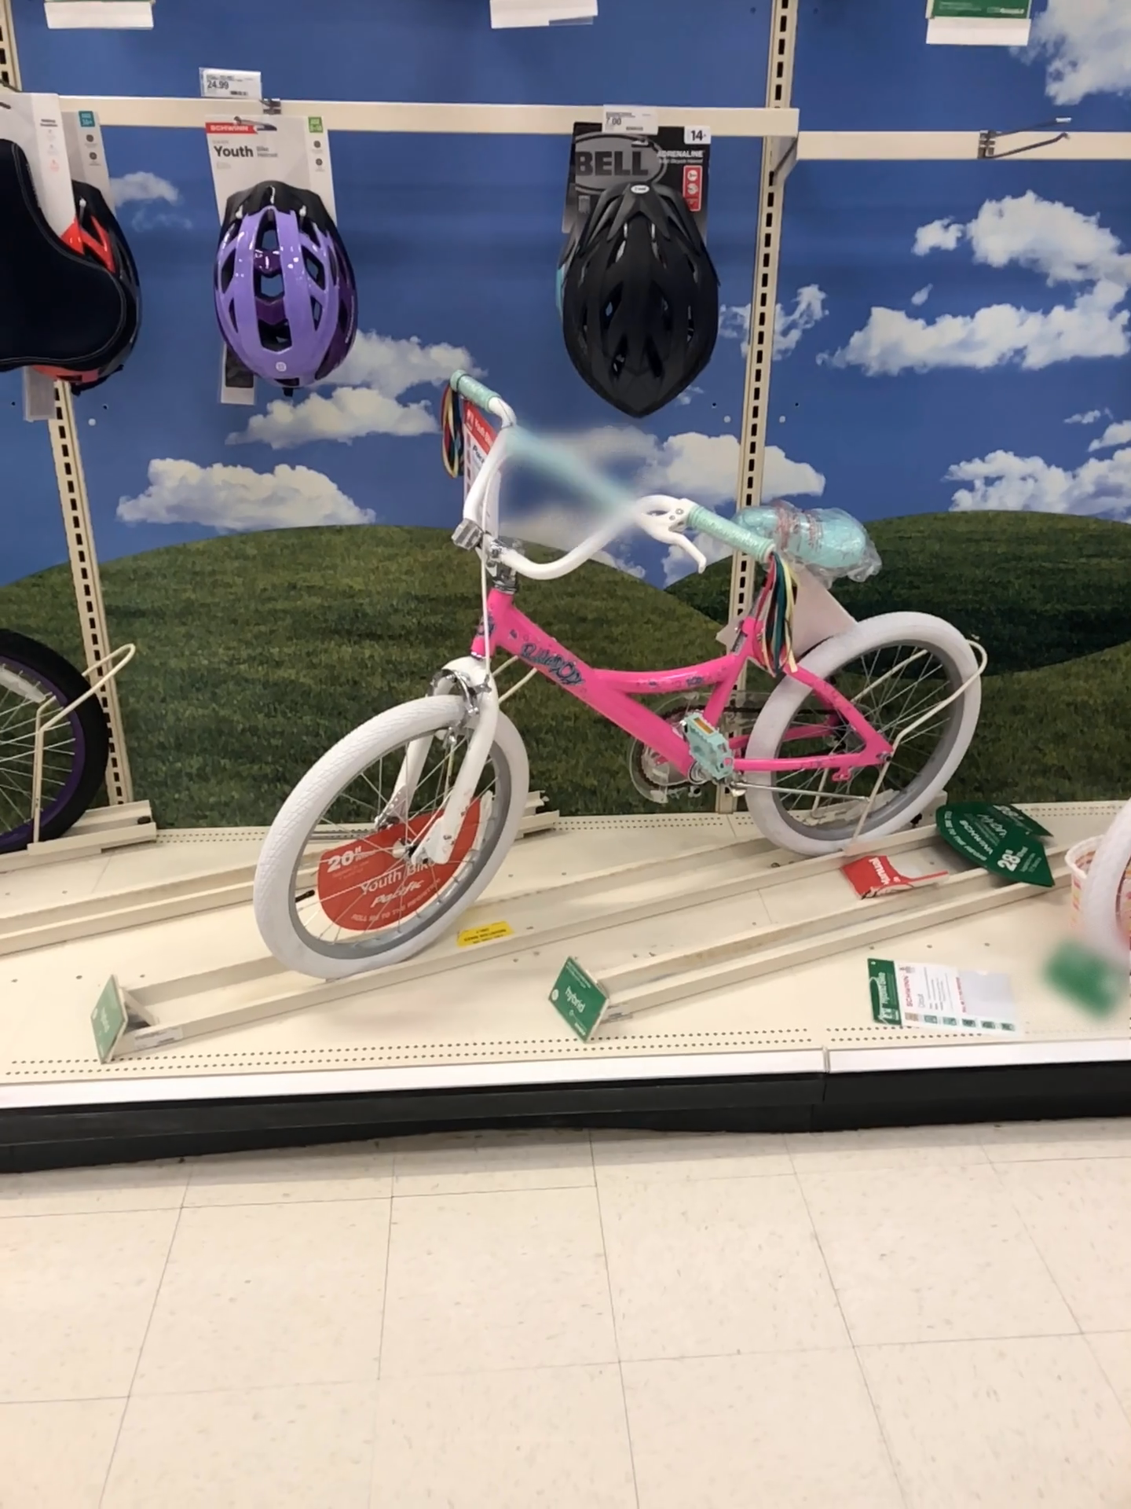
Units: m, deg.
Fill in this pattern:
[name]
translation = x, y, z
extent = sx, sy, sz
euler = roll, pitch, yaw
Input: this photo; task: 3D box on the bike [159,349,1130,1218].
[bike]
translation = 0.162, -0.082, 1.983
extent = 1.347, 0.882, 0.730
euler = -13, 28, -23
